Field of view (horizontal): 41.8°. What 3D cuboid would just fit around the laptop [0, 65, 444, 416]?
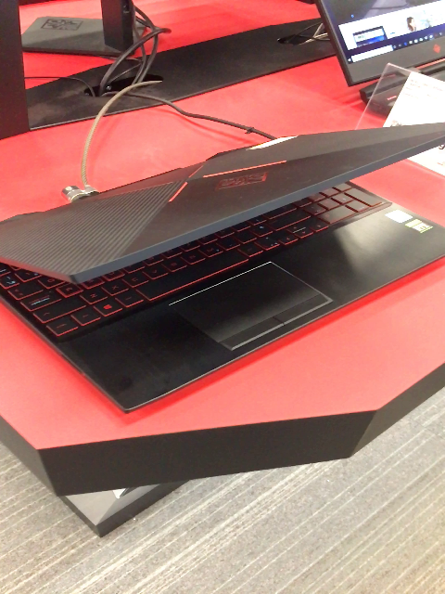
[{"bbox_3d":[0.003,-0.075,0.500,0.380,0.107,0.217,-27,54,-27],"label":"laptop"}]
